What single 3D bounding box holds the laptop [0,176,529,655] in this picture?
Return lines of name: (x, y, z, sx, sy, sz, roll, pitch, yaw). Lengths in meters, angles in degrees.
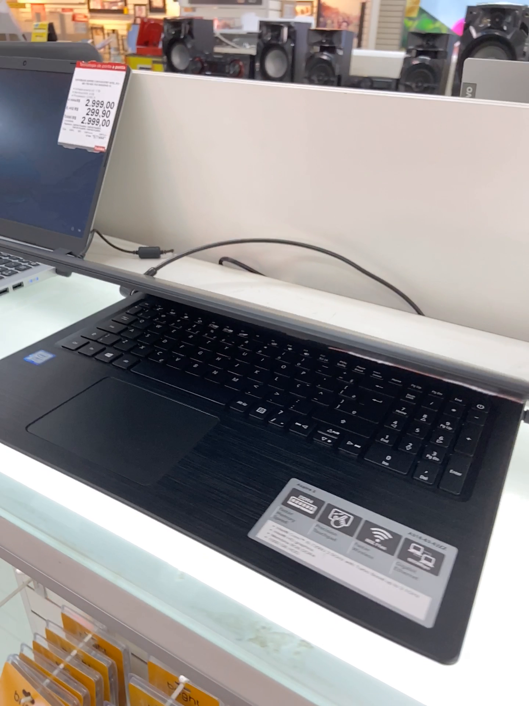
laptop: (-0.023, -0.018, 0.381, 0.381, 0.118, 0.237, 17, 32, 25)
